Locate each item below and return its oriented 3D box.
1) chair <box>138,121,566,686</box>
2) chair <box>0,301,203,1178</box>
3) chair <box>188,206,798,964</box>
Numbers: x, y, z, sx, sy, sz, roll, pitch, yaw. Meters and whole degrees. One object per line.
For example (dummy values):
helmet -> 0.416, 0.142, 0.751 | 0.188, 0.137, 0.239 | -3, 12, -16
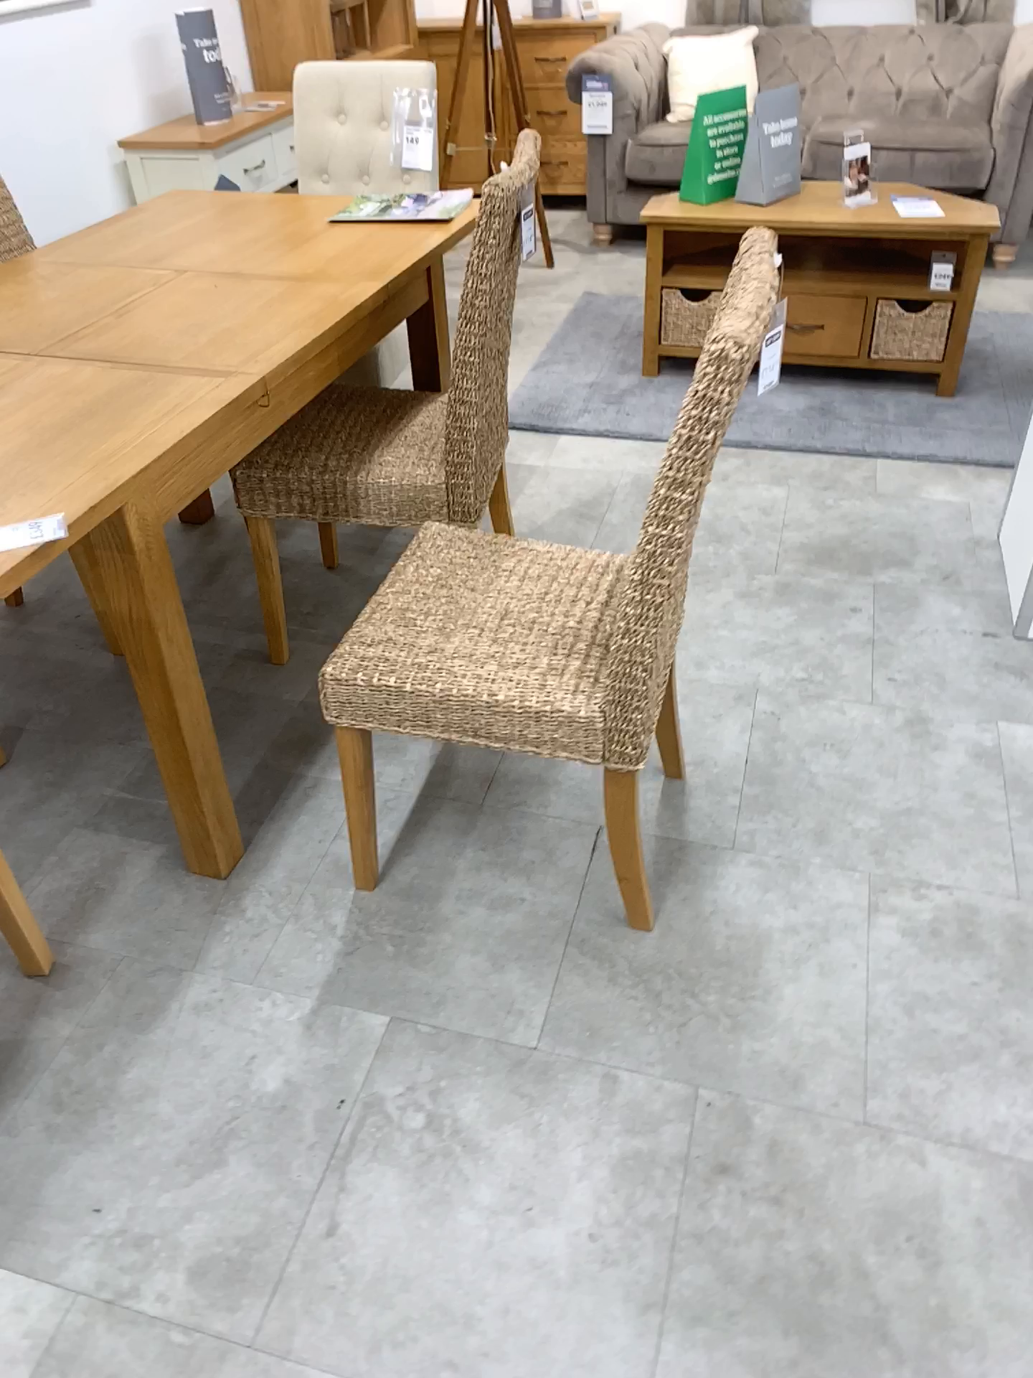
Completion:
chair -> -0.223, -0.528, 1.985 | 0.564, 0.870, 0.529 | 3, 38, 8
chair -> -0.856, 0.077, 1.148 | 0.724, 0.840, 0.429 | 2, 37, 7
chair -> 0.027, -0.148, 1.455 | 0.575, 0.840, 0.509 | 8, 39, 14
